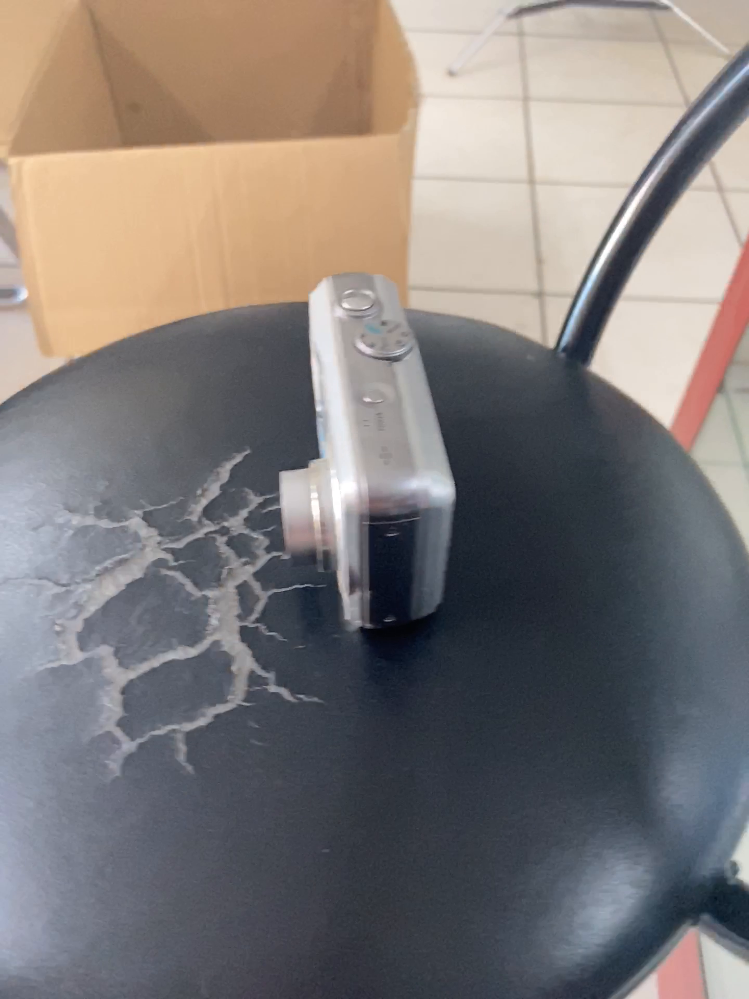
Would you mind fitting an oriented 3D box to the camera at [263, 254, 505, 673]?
[{"bbox_3d":[-0.002,-0.013,0.220,0.050,0.060,0.101,-4,50,-4],"label":"camera"}]
